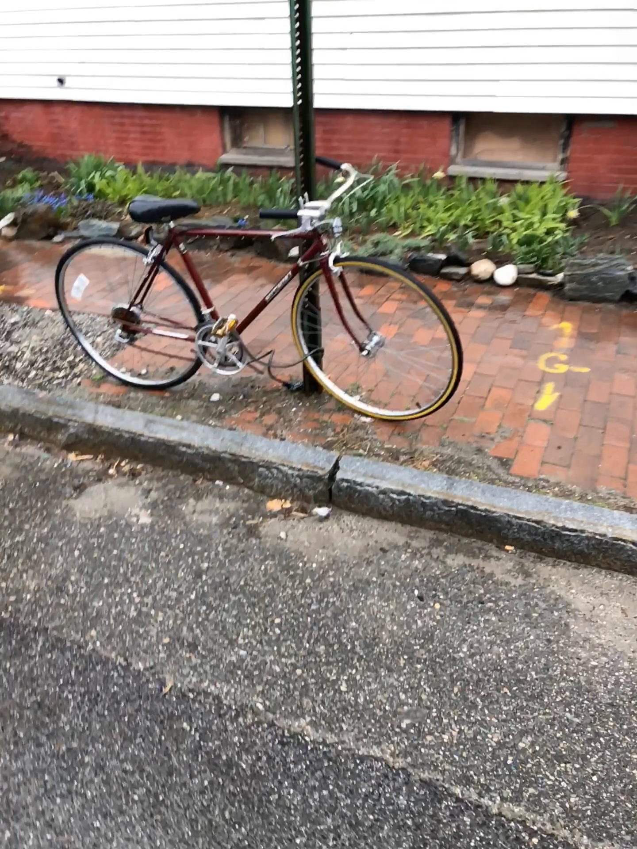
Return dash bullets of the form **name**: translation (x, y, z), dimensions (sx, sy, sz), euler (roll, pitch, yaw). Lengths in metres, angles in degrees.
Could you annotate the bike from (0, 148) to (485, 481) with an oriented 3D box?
- **bike**: translation (-0.305, -0.446, 2.447), dimensions (1.605, 0.907, 0.502), euler (9, 32, 21)
